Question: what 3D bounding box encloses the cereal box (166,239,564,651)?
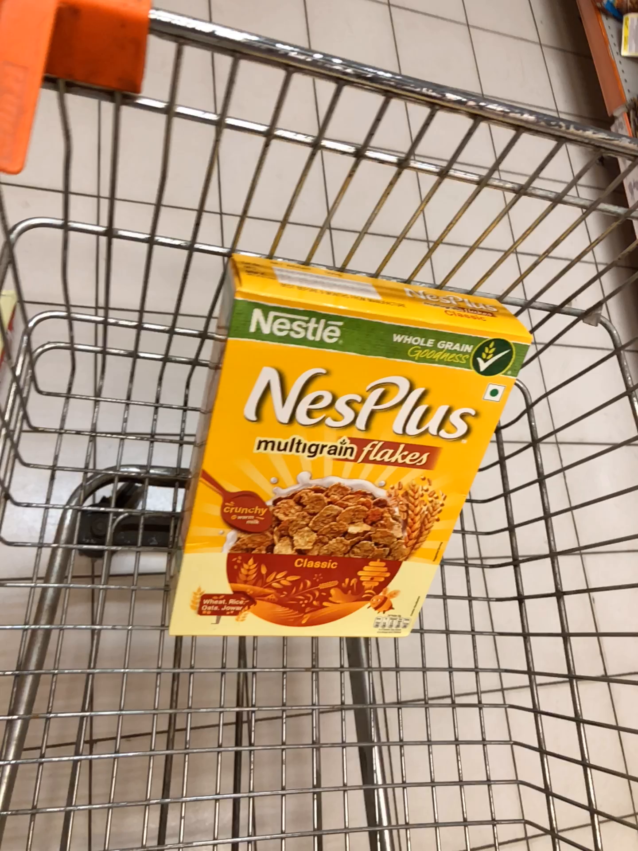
[{"bbox_3d":[0.013,0.026,0.475,0.190,0.249,0.090,6,28,-19],"label":"cereal box"}]
